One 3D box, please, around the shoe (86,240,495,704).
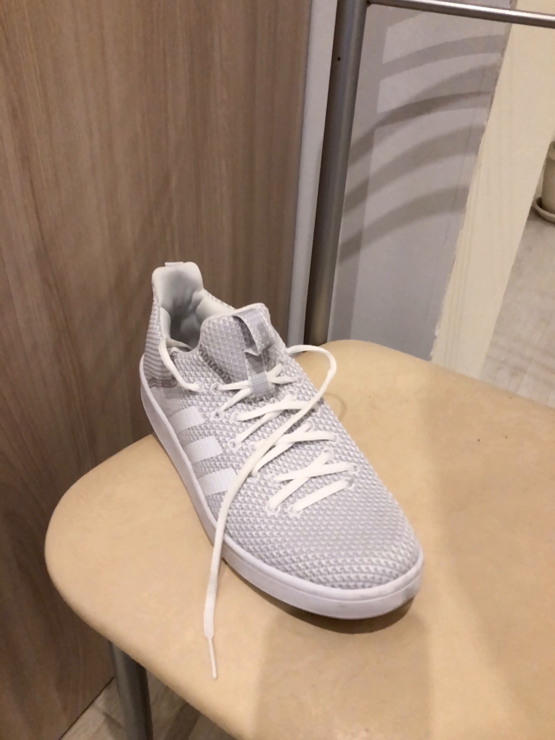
[{"bbox_3d":[-0.020,0.037,0.420,0.110,0.129,0.301,-19,41,-28],"label":"shoe"}]
